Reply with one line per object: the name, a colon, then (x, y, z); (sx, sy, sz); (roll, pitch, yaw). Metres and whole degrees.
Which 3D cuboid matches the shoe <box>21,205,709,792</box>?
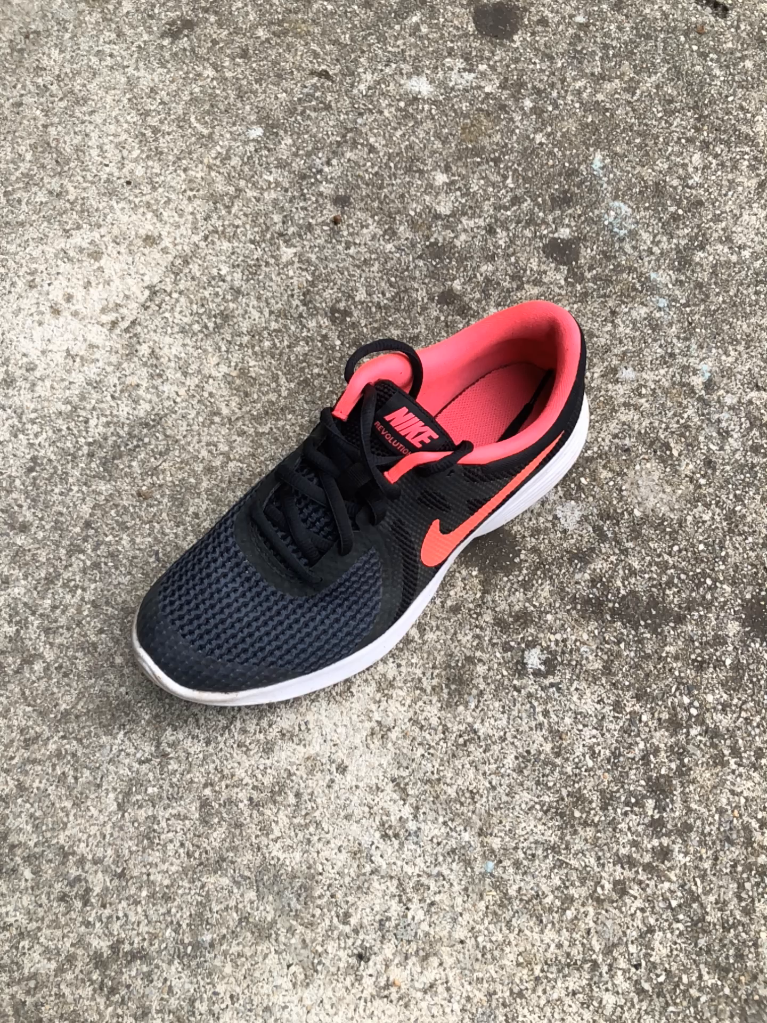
shoe: (-0.001, -0.006, 0.394); (0.273, 0.100, 0.110); (-36, 72, -13)
